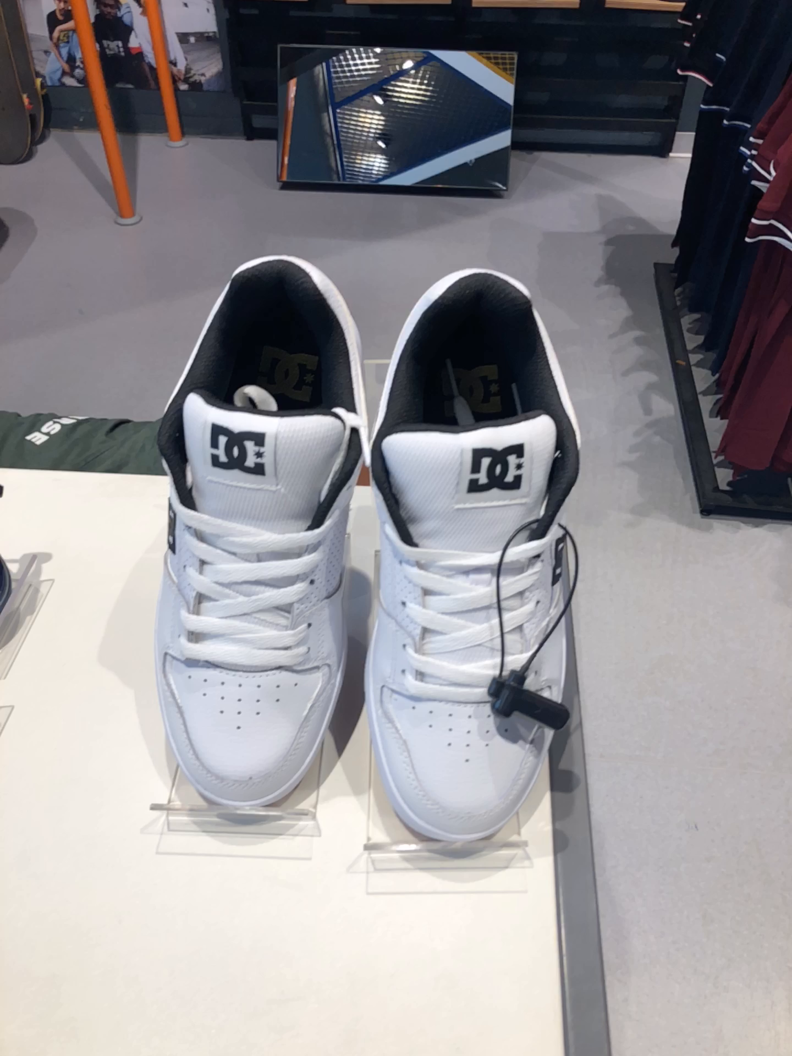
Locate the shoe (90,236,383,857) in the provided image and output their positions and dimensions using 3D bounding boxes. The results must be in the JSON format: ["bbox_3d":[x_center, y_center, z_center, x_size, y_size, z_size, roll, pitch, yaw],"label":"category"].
[{"bbox_3d":[-0.072,0.006,0.424,0.103,0.259,0.102,5,6,3],"label":"shoe"}]

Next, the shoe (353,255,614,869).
[{"bbox_3d":[0.033,0.013,0.408,0.095,0.250,0.102,2,5,-1],"label":"shoe"}]
